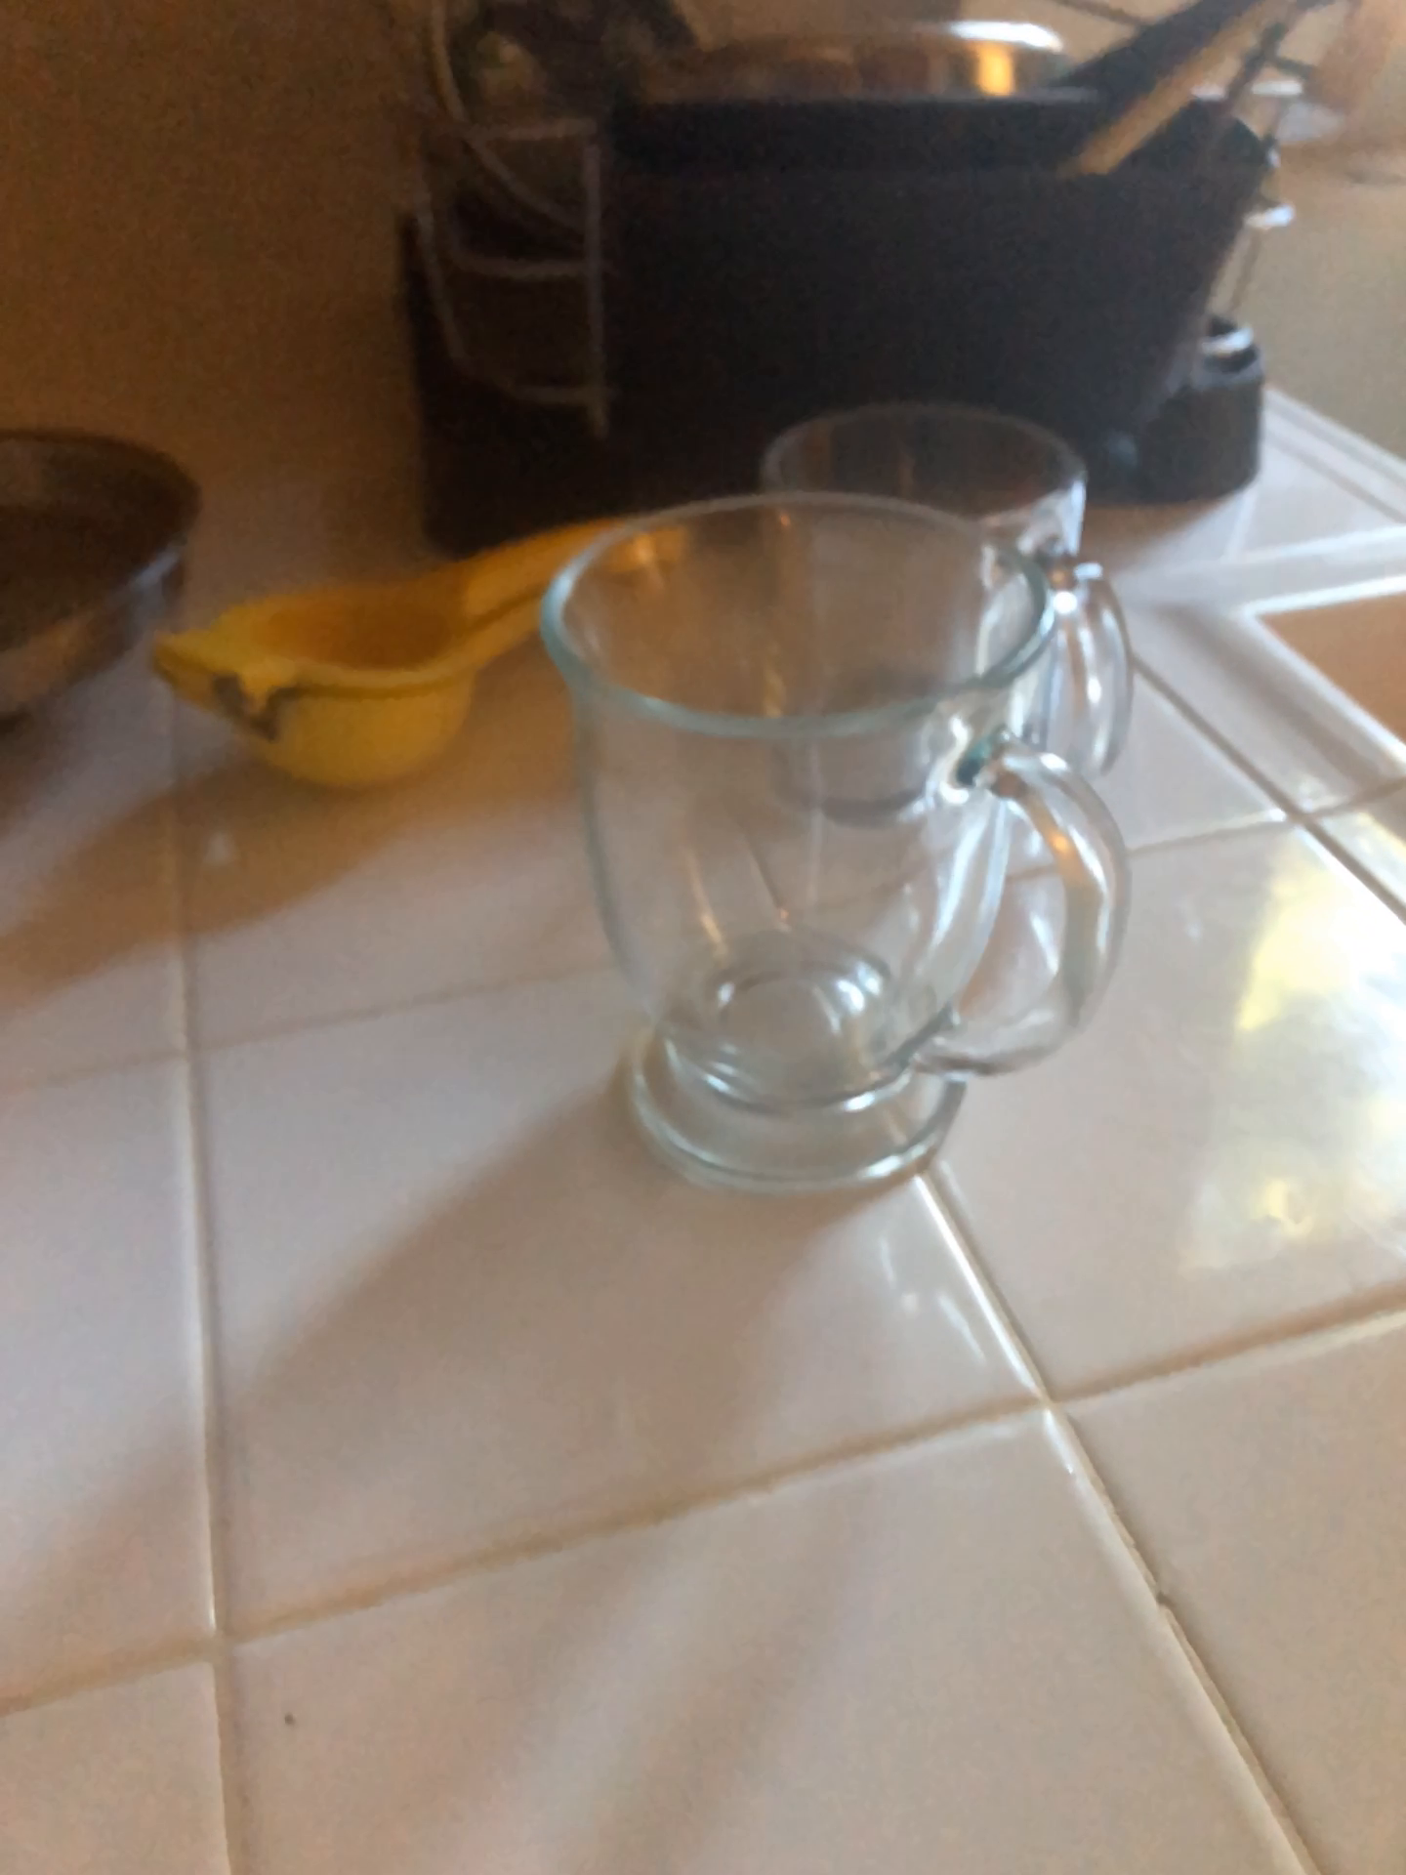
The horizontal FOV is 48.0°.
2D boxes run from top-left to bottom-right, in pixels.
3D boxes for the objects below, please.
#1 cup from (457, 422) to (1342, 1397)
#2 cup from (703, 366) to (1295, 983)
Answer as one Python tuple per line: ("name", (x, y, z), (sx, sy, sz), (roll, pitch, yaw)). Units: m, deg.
("cup", (0.036, -0.011, 0.326), (0.130, 0.139, 0.091), (23, 44, 29))
("cup", (0.074, -0.078, 0.436), (0.090, 0.109, 0.120), (-27, 44, -29))
